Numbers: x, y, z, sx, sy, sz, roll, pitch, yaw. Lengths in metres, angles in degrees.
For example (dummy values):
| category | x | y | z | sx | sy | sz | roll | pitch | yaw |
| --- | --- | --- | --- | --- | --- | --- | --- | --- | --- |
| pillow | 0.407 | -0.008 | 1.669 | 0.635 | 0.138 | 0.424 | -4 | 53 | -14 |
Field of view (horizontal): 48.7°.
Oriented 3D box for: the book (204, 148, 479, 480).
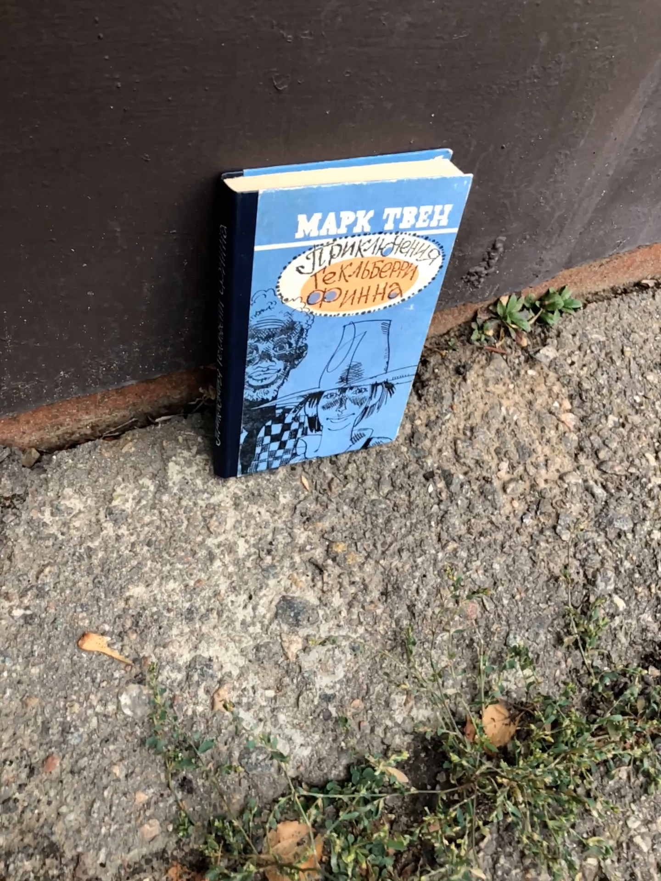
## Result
| category | x | y | z | sx | sy | sz | roll | pitch | yaw |
| --- | --- | --- | --- | --- | --- | --- | --- | --- | --- |
| book | 0.000 | -0.064 | 0.415 | 0.130 | 0.186 | 0.030 | -12 | 48 | -18 |
